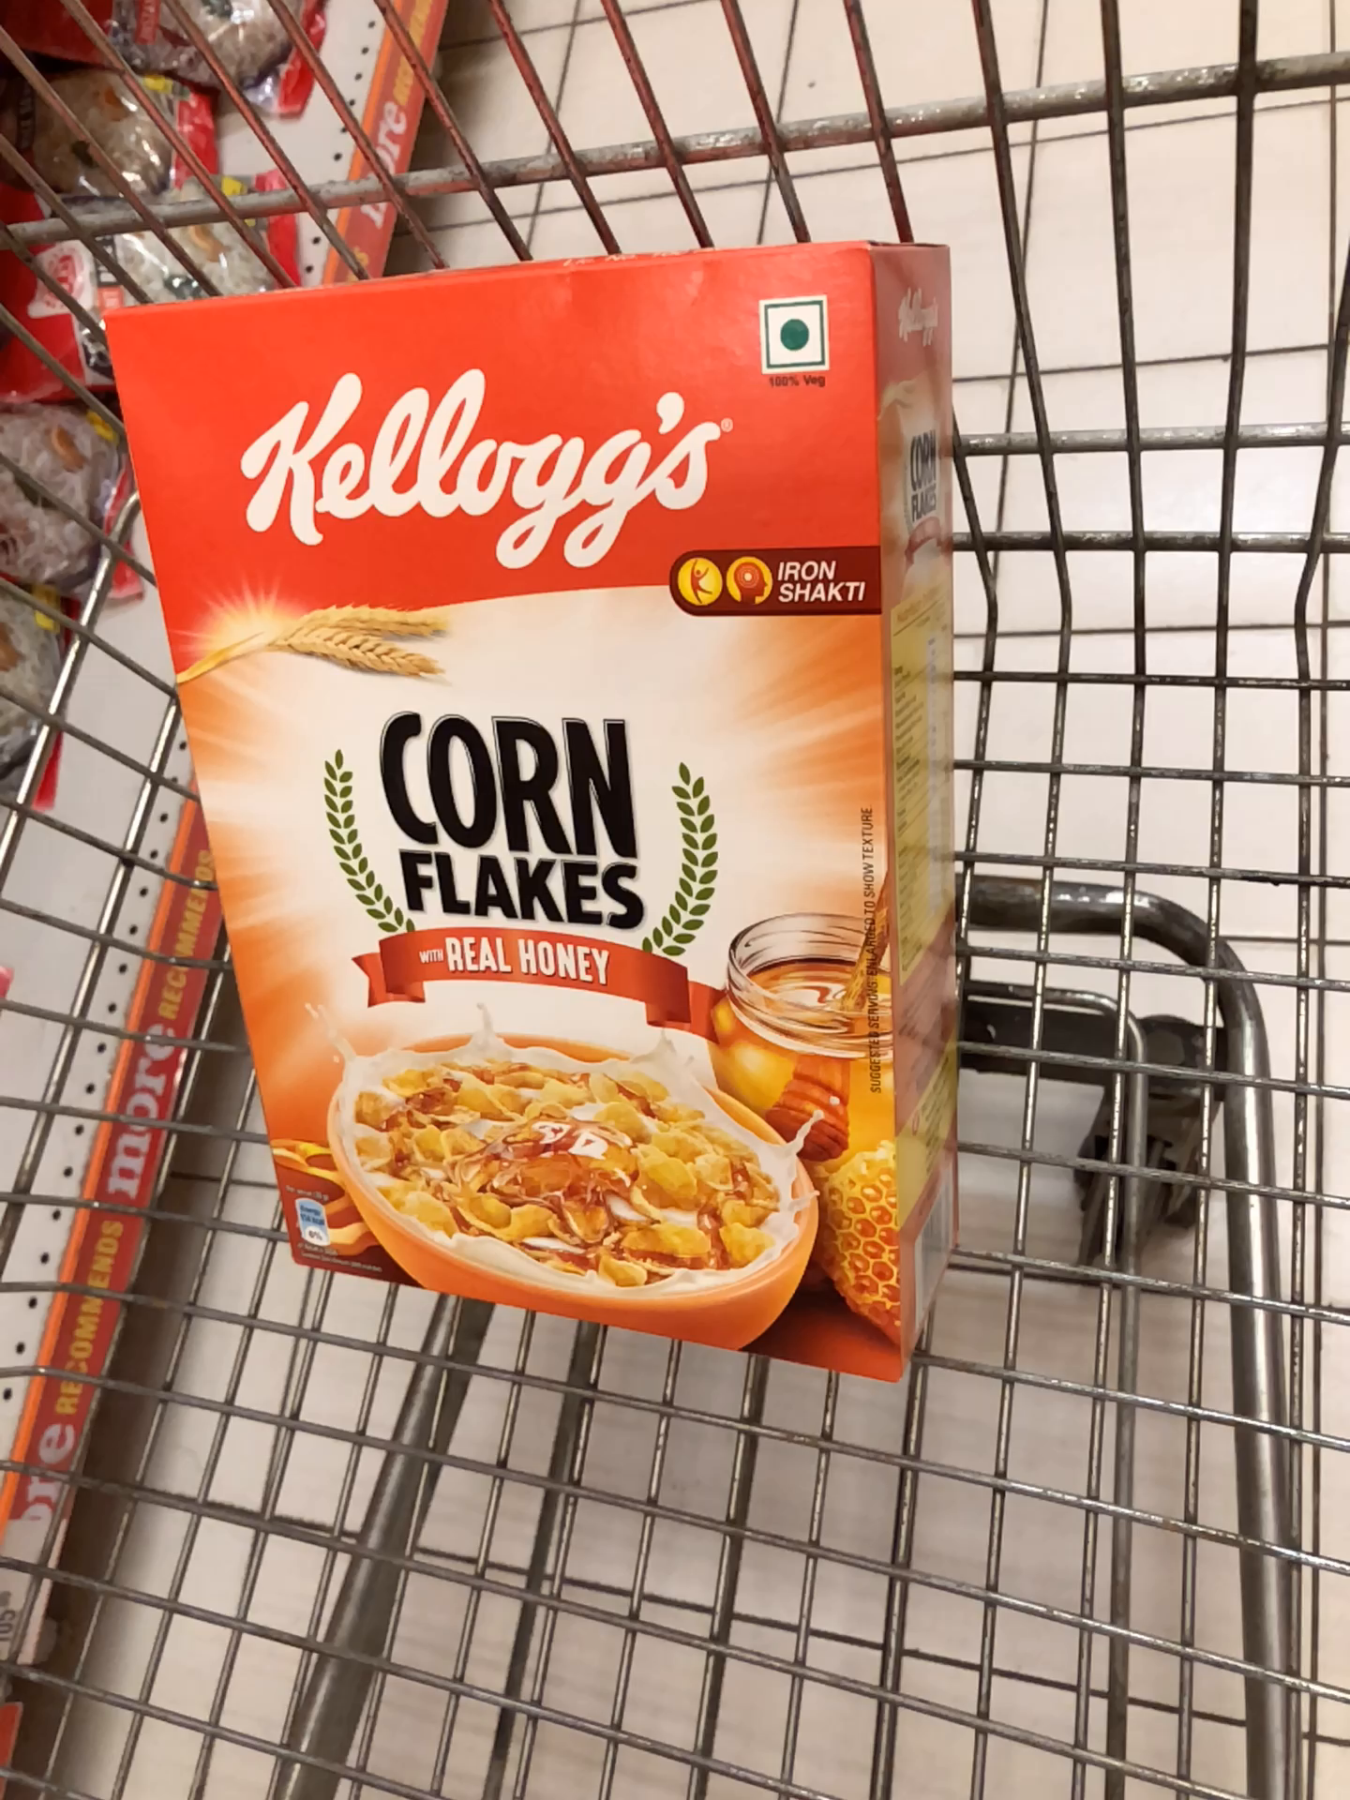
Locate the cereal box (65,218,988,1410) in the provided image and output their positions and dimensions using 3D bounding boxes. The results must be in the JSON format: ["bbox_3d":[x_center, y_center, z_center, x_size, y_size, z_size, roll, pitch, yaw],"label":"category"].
[{"bbox_3d":[-0.025,-0.021,0.379,0.190,0.080,0.259,5,113,22],"label":"cereal box"}]
